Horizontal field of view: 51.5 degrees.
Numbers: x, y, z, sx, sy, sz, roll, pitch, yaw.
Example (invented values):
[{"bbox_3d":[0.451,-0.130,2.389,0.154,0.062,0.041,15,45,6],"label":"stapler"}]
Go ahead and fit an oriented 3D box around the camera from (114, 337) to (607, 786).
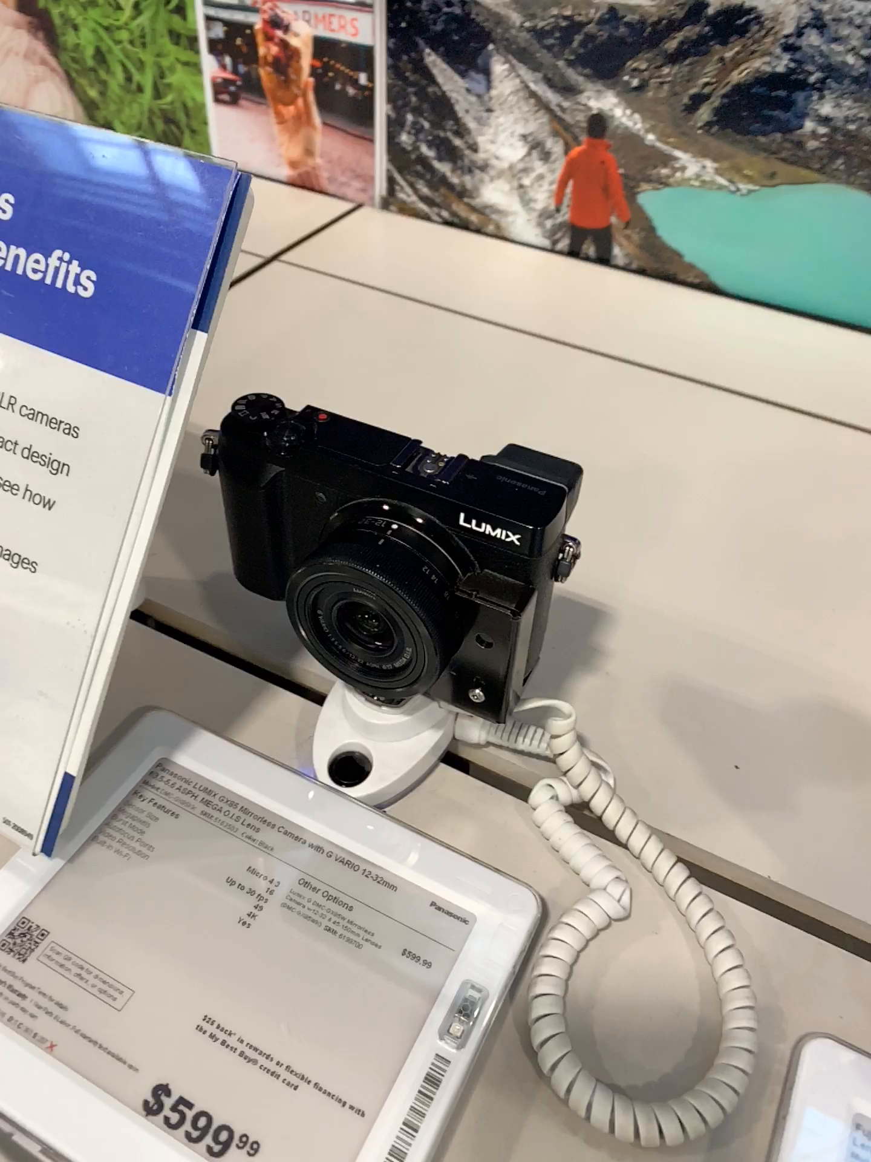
[{"bbox_3d":[-0.022,-0.010,0.283,0.120,0.080,0.070,21,47,18],"label":"camera"}]
